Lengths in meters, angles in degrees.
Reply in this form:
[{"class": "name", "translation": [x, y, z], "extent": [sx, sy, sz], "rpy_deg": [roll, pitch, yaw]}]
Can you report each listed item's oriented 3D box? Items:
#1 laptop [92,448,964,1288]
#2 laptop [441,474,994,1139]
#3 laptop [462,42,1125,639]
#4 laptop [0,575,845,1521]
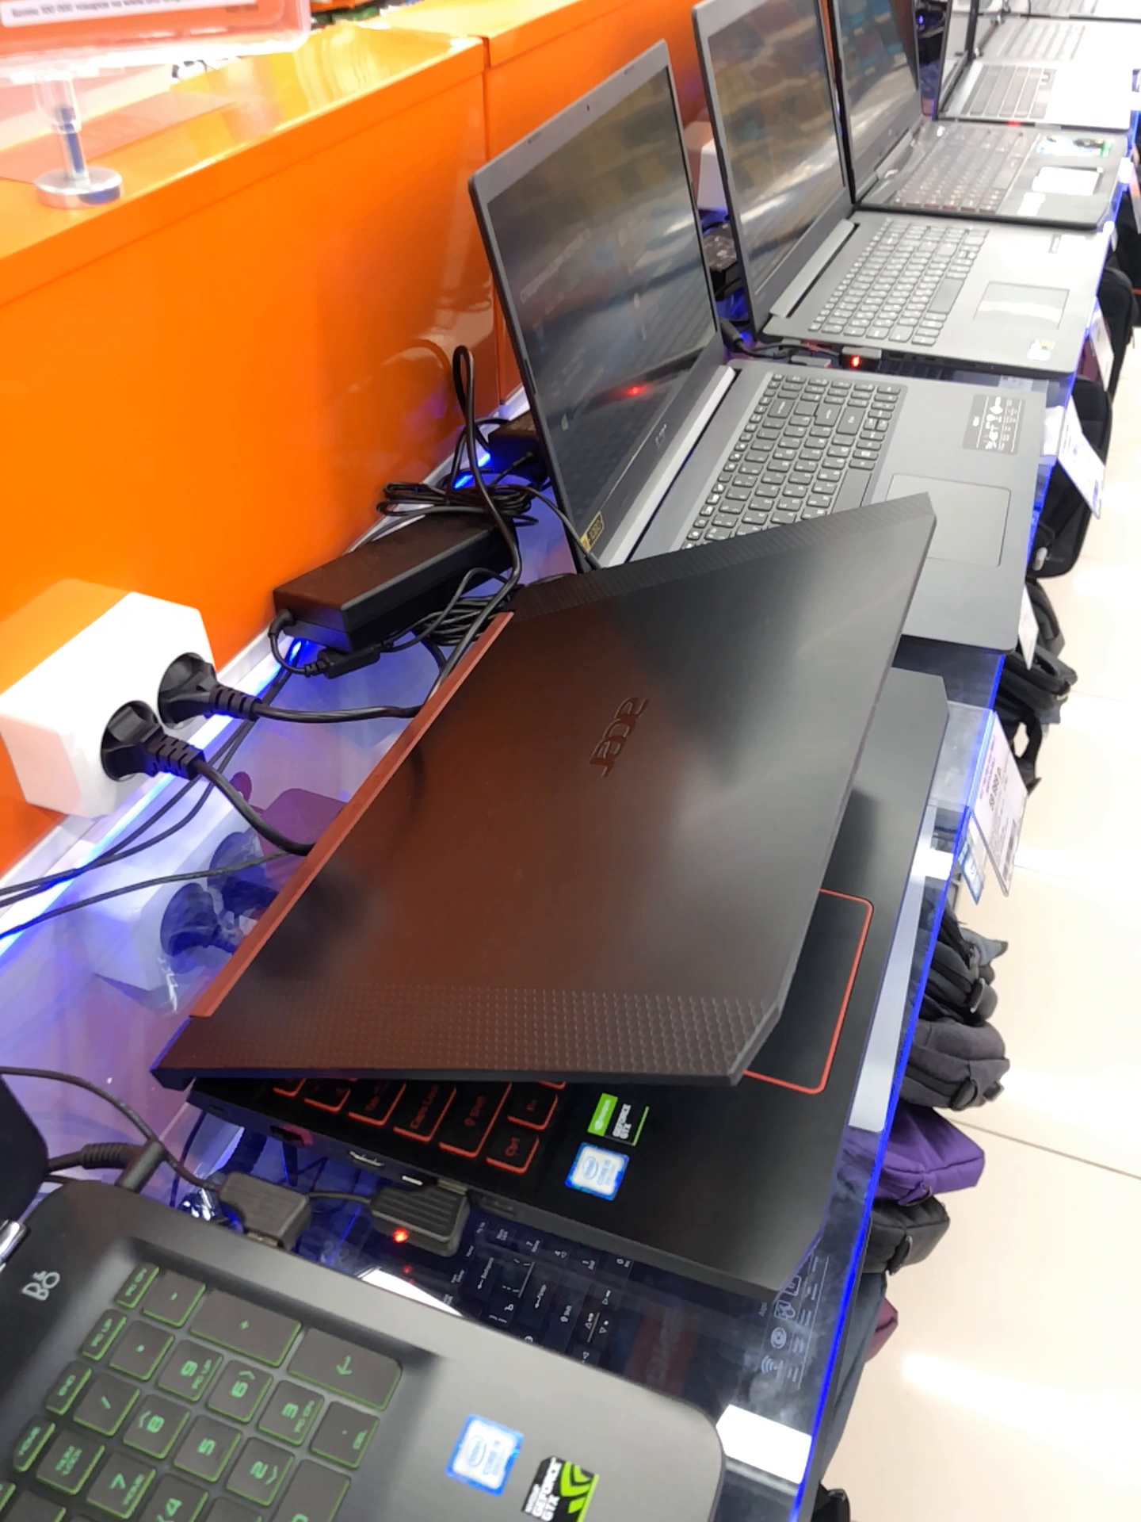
[{"class": "laptop", "translation": [0.017, 0.002, 0.550], "extent": [0.248, 0.103, 0.359], "rpy_deg": [12, 41, 16]}, {"class": "laptop", "translation": [0.125, 0.001, 0.932], "extent": [0.296, 0.220, 0.406], "rpy_deg": [11, 42, 16]}, {"class": "laptop", "translation": [0.155, -0.291, 0.801], "extent": [0.312, 0.226, 0.344], "rpy_deg": [12, 41, 15]}, {"class": "laptop", "translation": [-0.177, 0.200, 0.199], "extent": [0.310, 0.250, 0.416], "rpy_deg": [12, 41, 17]}]
